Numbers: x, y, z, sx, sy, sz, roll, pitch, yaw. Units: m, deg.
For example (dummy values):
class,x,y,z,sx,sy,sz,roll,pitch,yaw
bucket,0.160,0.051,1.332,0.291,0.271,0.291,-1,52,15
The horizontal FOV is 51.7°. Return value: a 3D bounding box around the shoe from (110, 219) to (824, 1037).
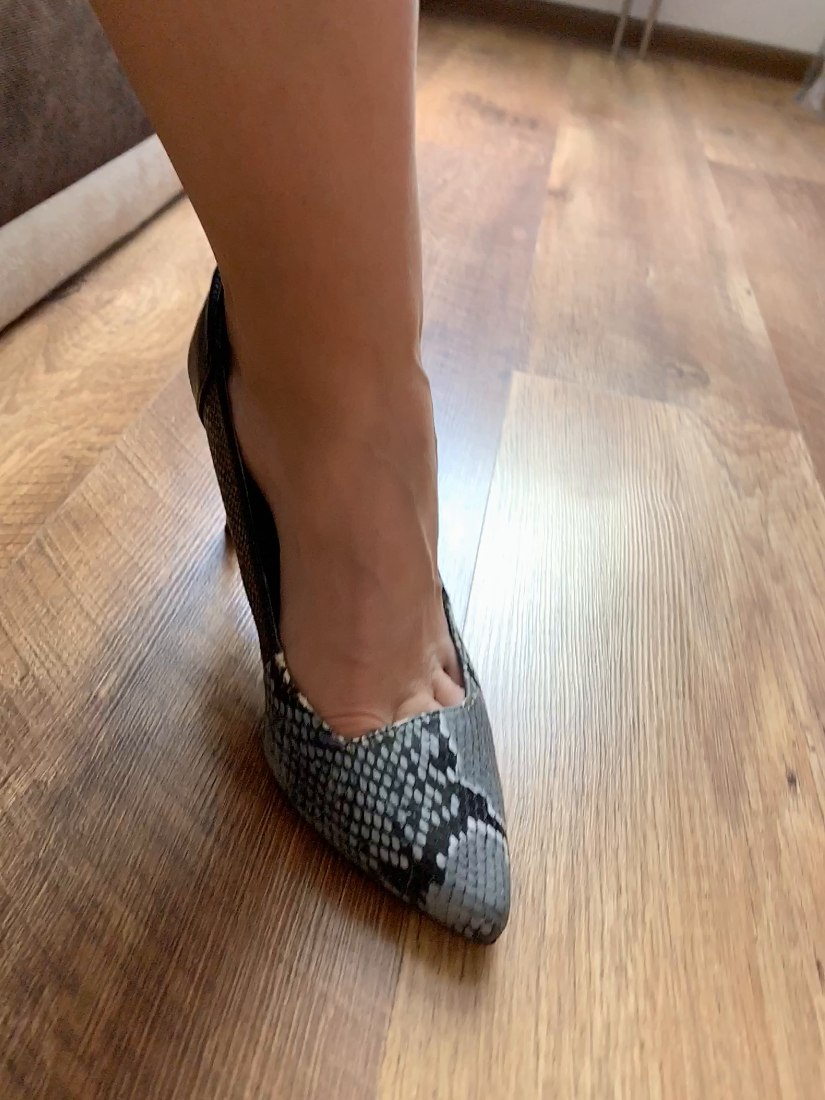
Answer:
class,x,y,z,sx,sy,sz,roll,pitch,yaw
shoe,-0.014,-0.005,0.279,0.090,0.109,0.251,-15,46,-28
